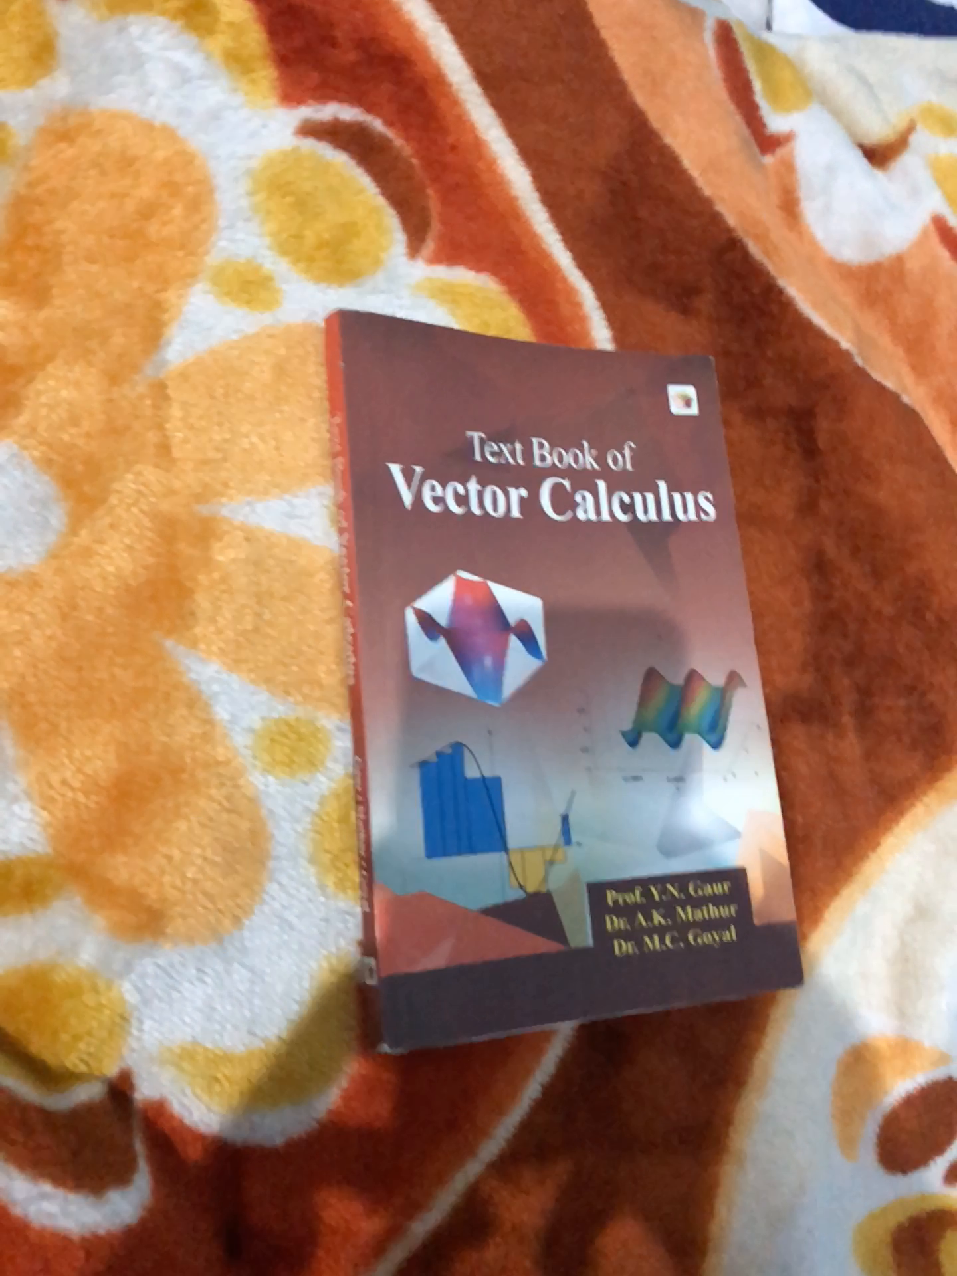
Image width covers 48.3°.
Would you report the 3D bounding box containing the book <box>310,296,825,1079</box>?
[{"bbox_3d":[0.027,0.007,0.320,0.140,0.020,0.210,-1,78,-25],"label":"book"}]
